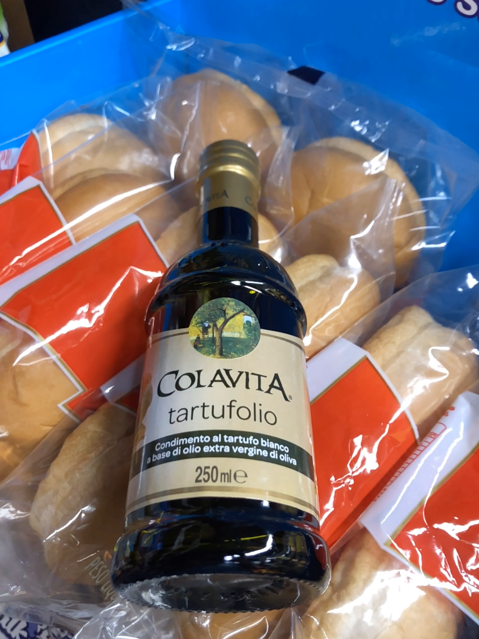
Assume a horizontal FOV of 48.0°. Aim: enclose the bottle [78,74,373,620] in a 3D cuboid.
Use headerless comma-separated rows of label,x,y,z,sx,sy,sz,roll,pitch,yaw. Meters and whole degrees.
bottle,-0.005,-0.006,0.211,0.070,0.060,0.211,-1,57,0
